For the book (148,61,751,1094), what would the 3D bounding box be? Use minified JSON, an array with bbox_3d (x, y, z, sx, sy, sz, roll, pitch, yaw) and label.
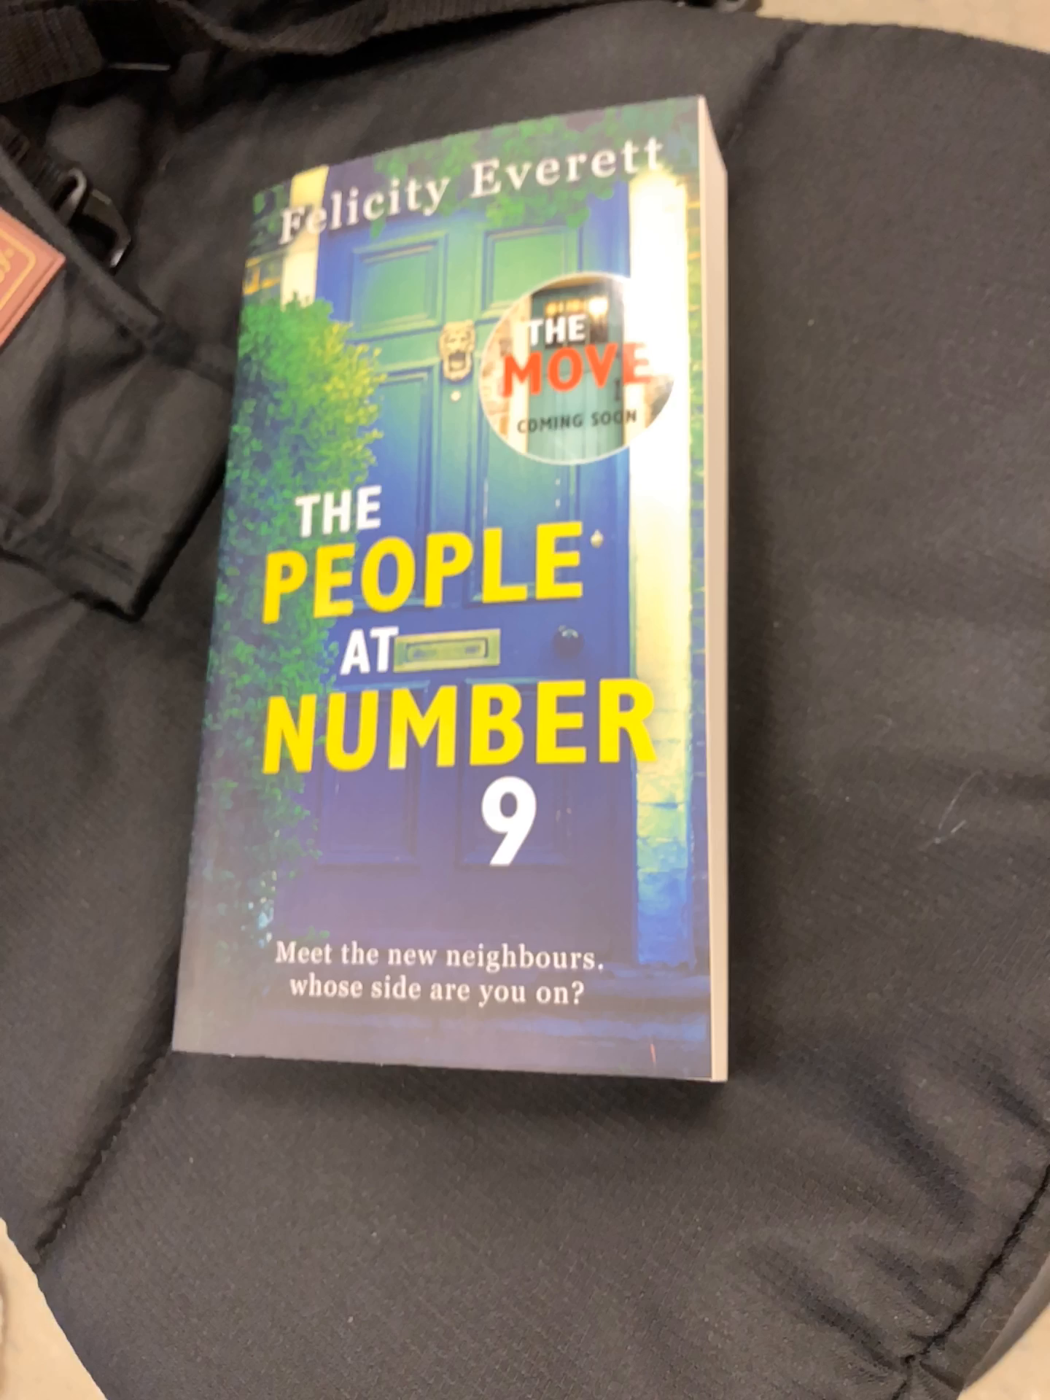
[{"bbox_3d":[-0.013,-0.025,0.243,0.110,0.030,0.195,-2,79,15],"label":"book"}]
